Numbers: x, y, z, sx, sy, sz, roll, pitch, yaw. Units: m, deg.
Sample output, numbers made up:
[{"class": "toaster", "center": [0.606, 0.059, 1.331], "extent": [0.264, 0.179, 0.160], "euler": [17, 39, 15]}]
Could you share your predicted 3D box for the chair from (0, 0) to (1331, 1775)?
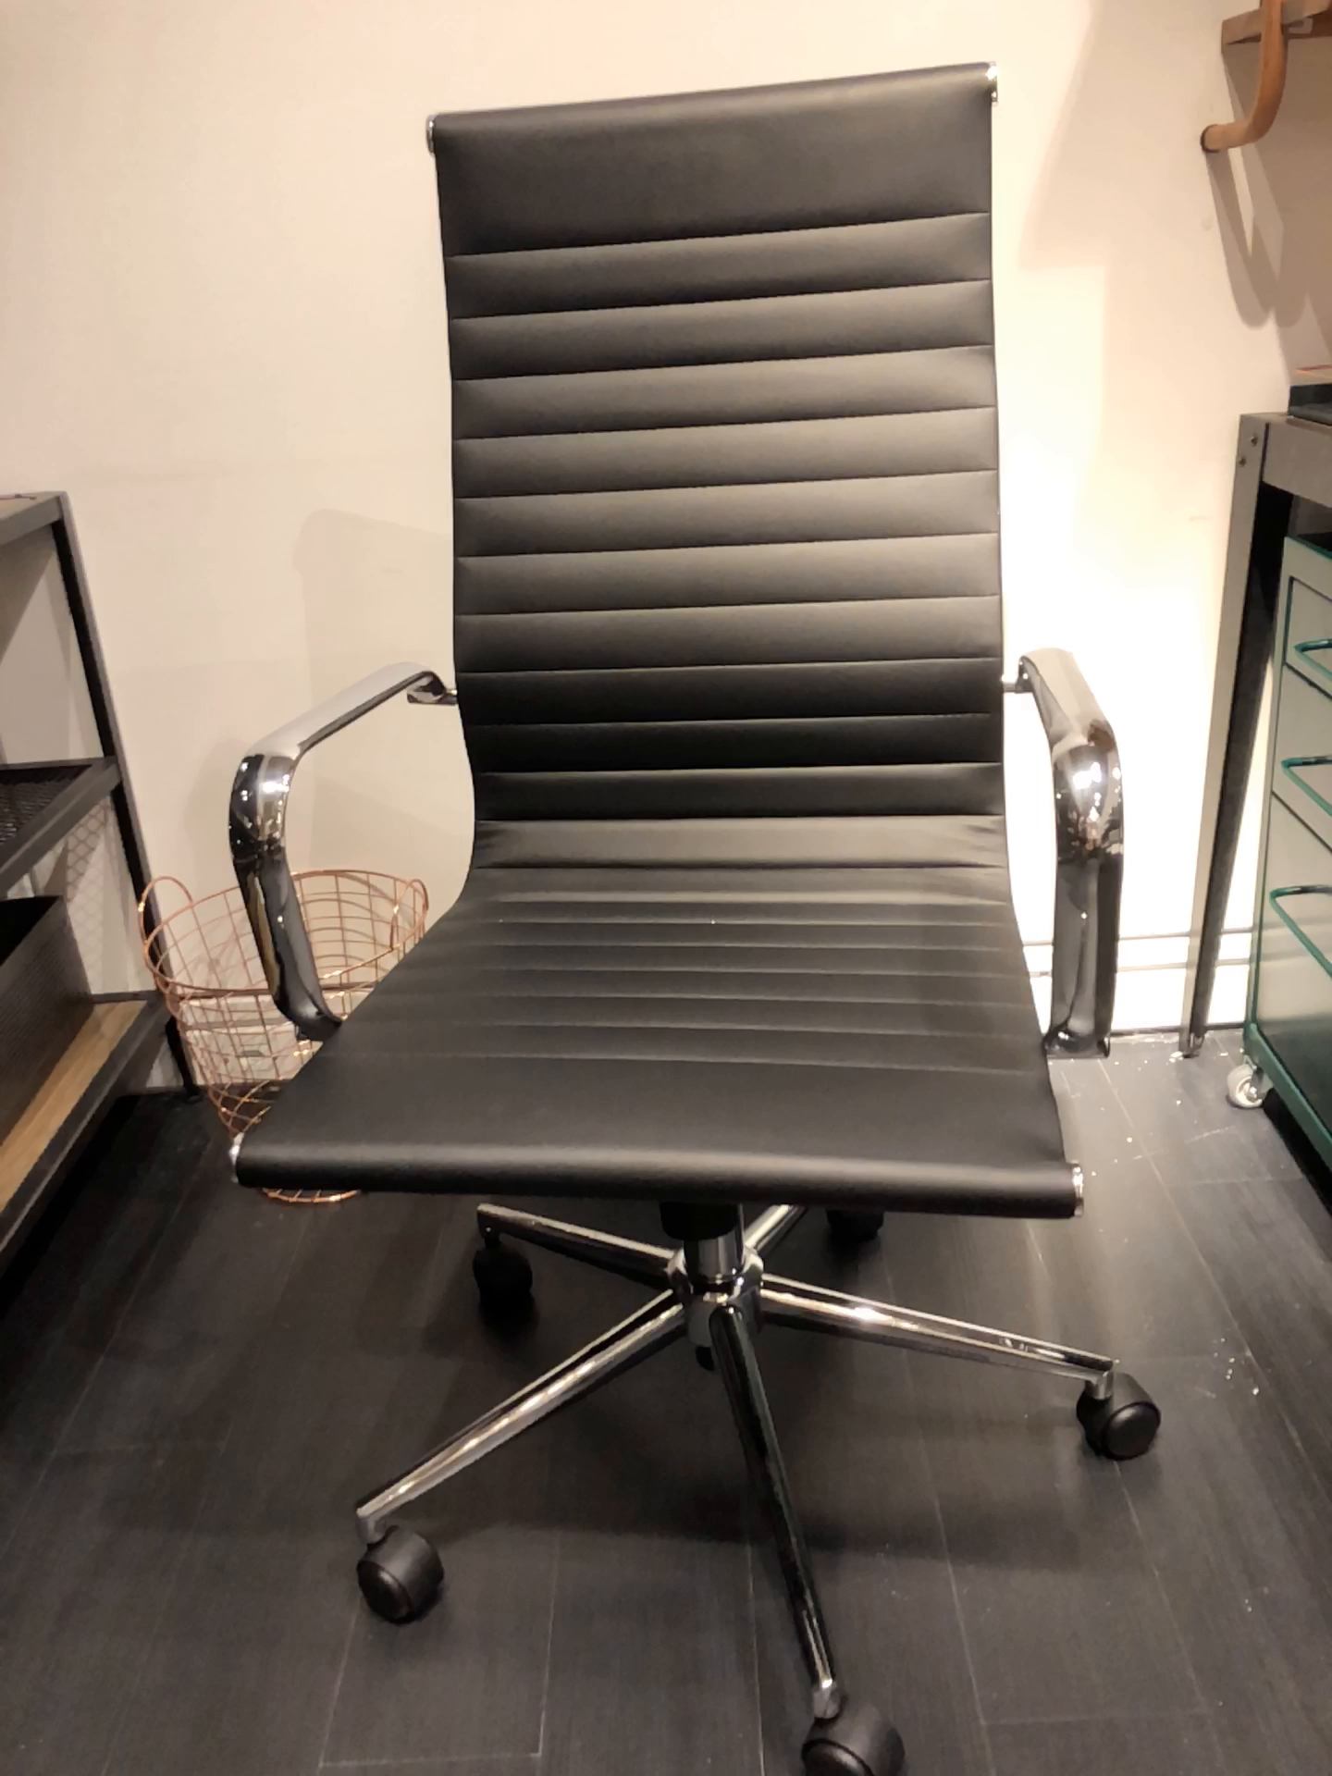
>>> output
[{"class": "chair", "center": [0.052, -0.013, 1.048], "extent": [0.680, 1.053, 0.665], "euler": [0, 24, 10]}]
